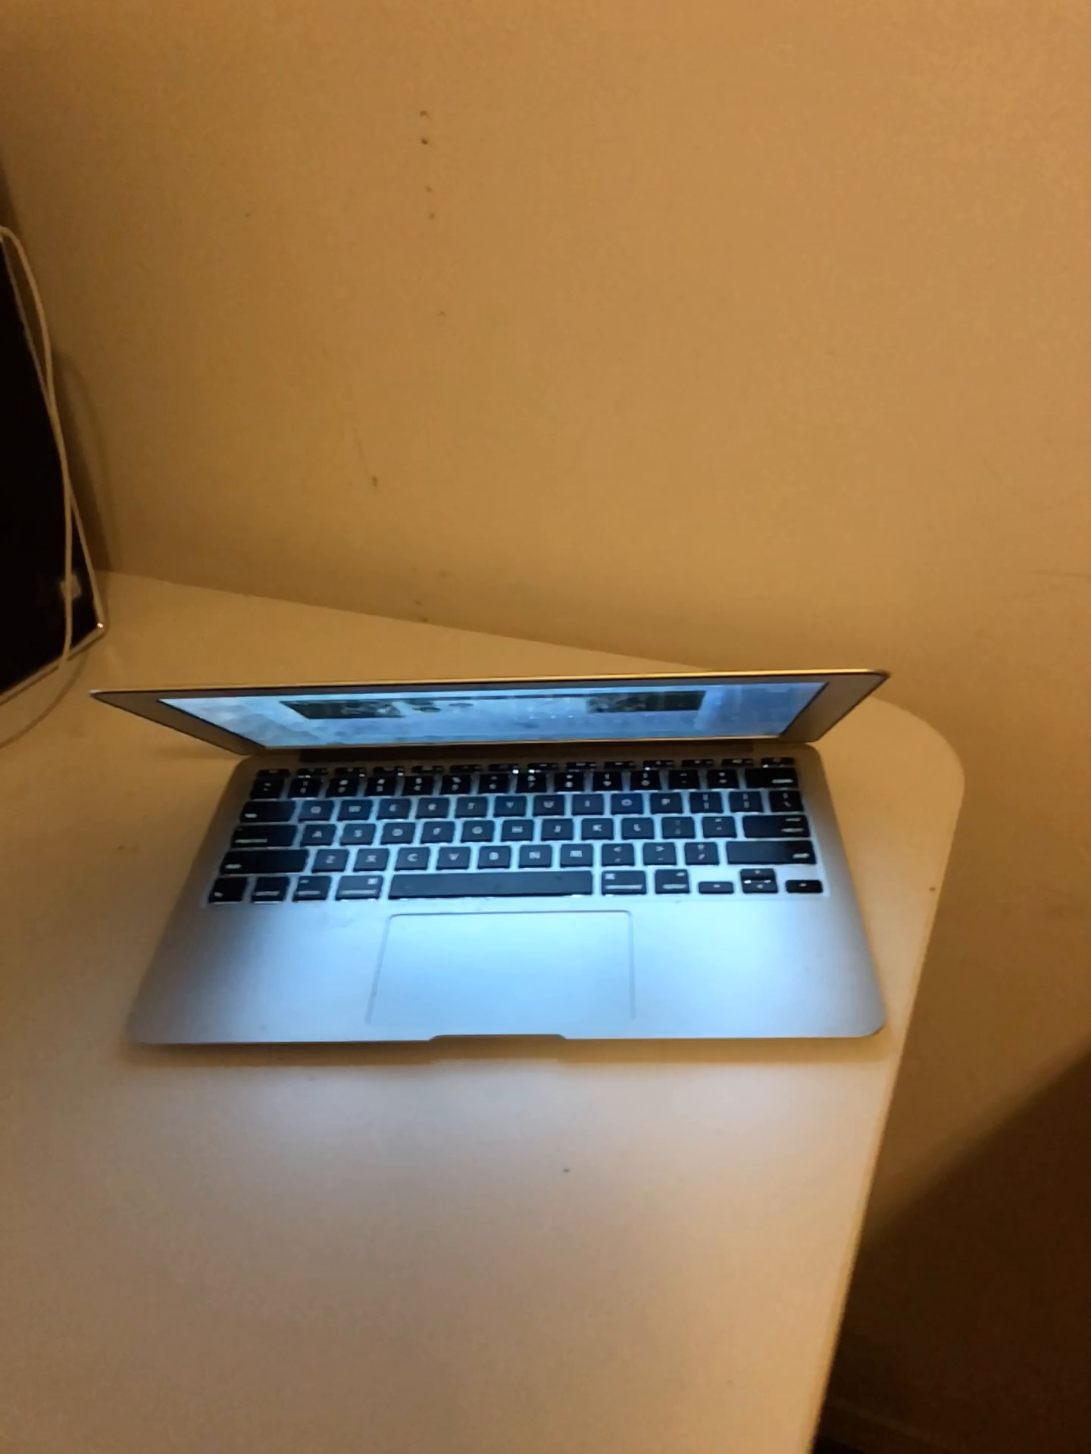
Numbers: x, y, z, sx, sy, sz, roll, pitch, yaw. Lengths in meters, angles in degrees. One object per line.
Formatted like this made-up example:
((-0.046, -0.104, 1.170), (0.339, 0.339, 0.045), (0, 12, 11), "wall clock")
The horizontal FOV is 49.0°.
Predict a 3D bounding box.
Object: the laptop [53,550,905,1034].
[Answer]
((-0.015, 0.018, 0.505), (0.285, 0.108, 0.182), (-1, 33, 1), "laptop")
